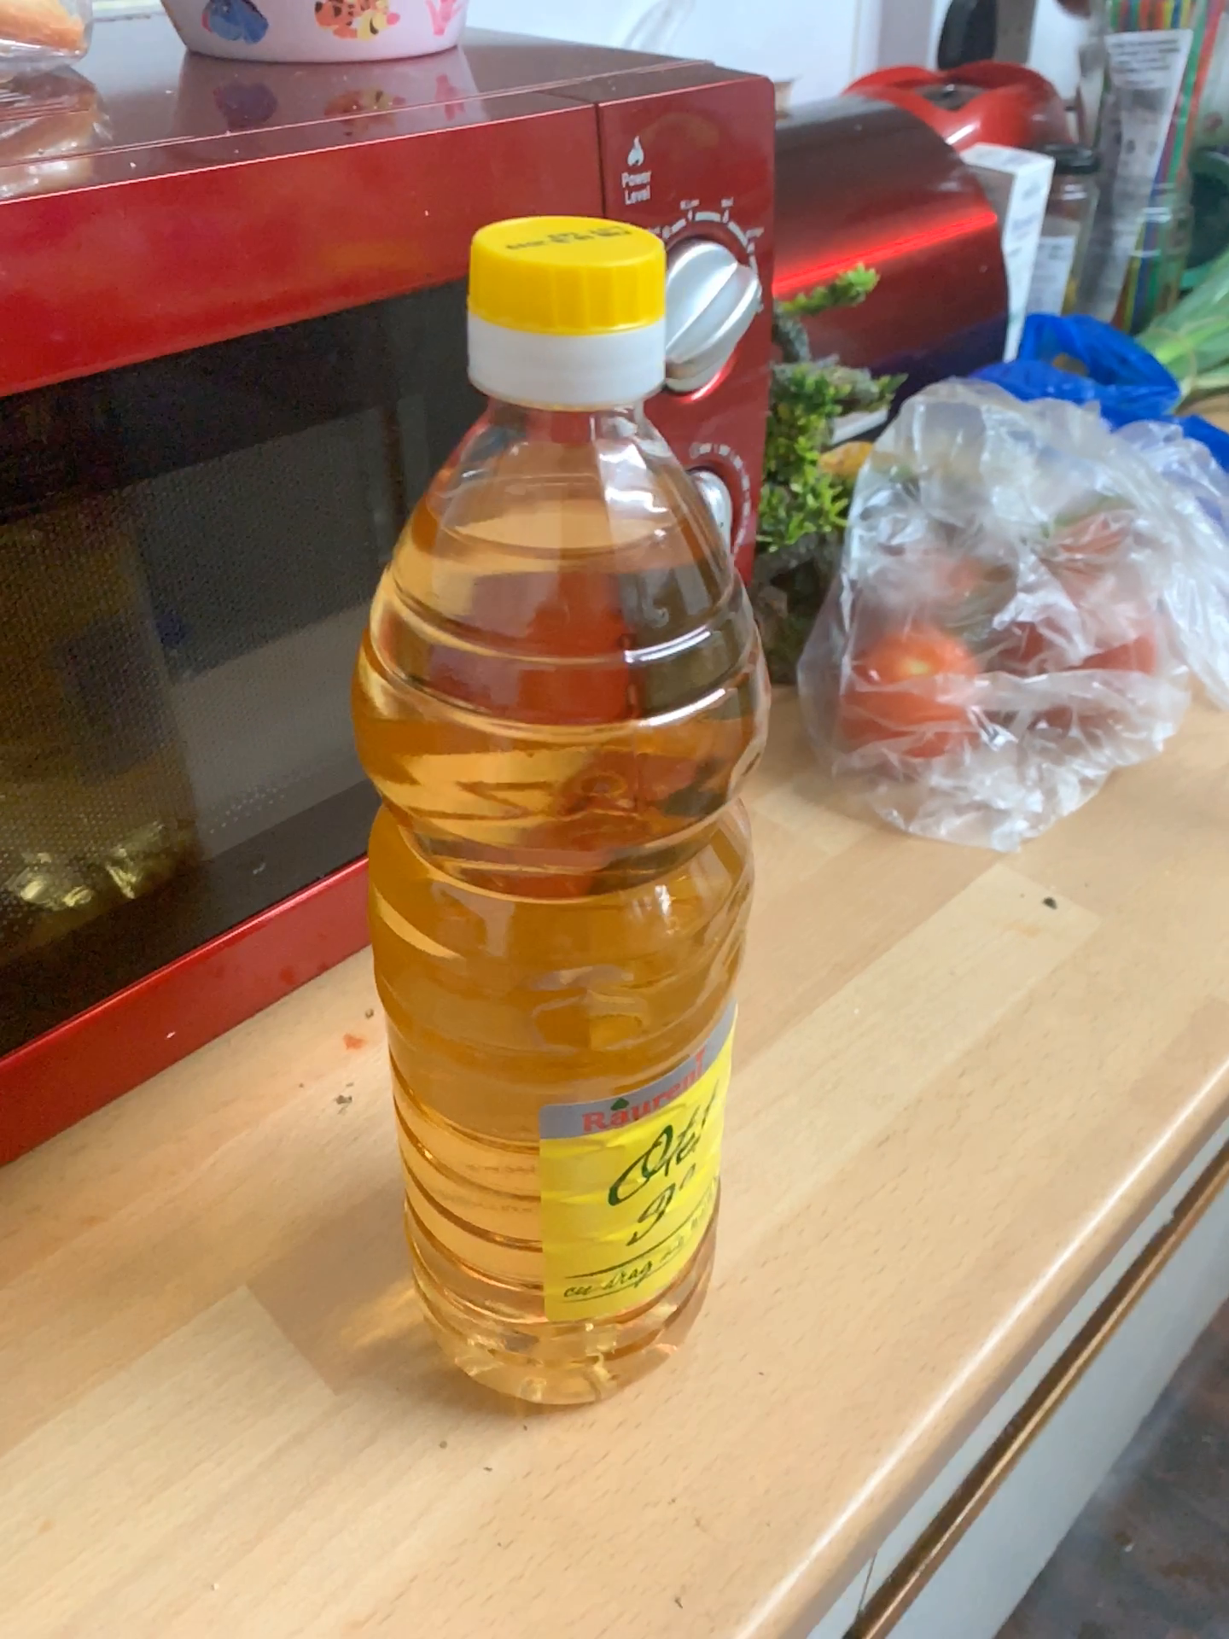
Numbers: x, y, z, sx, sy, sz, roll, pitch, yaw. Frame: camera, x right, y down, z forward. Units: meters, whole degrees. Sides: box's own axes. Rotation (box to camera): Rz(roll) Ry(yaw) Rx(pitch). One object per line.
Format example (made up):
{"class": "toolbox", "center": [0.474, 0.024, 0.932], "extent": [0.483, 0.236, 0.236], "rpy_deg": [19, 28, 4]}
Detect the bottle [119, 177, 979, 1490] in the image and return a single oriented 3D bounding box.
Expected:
{"class": "bottle", "center": [-0.010, 0.013, 0.246], "extent": [0.090, 0.228, 0.080], "rpy_deg": [-26, 44, -31]}
